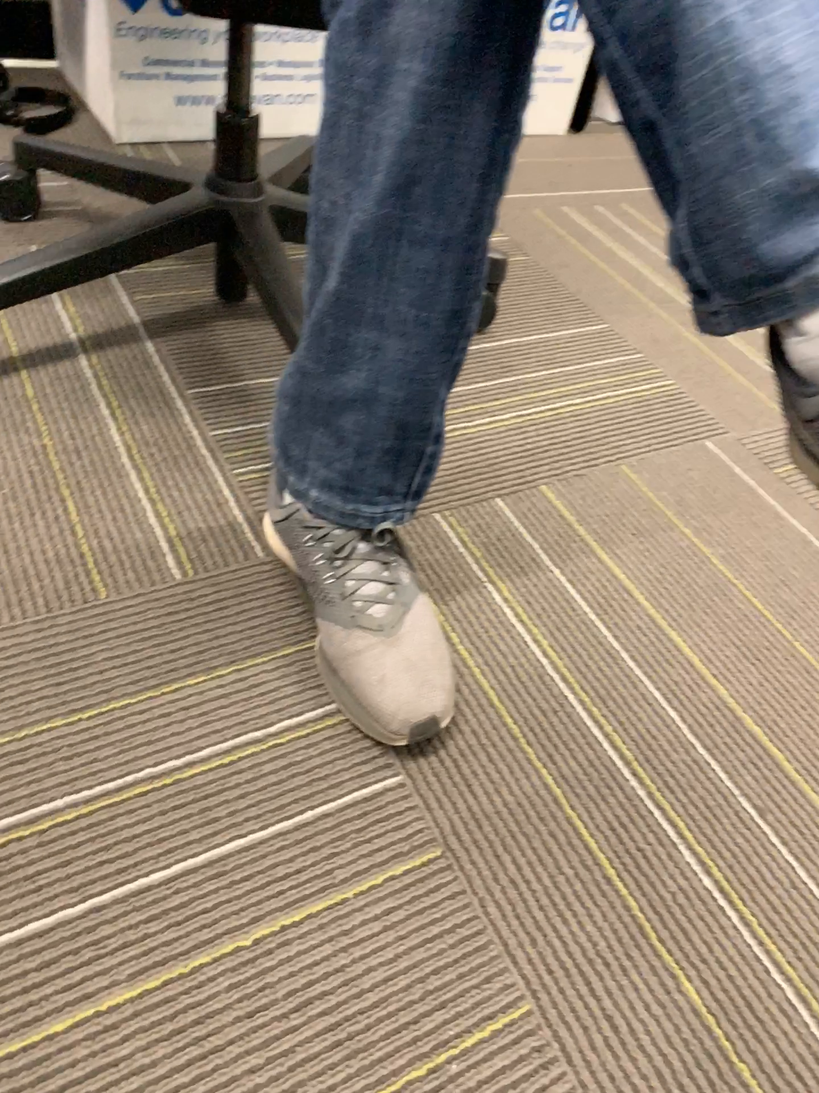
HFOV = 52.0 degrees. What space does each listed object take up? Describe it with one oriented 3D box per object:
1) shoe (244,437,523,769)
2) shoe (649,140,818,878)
[{"bbox_3d":[-0.035,0.032,0.704,0.120,0.085,0.270,-13,50,-25],"label":"shoe"},{"bbox_3d":[0.252,-0.041,0.369,0.122,0.142,0.296,-35,40,10],"label":"shoe"}]
